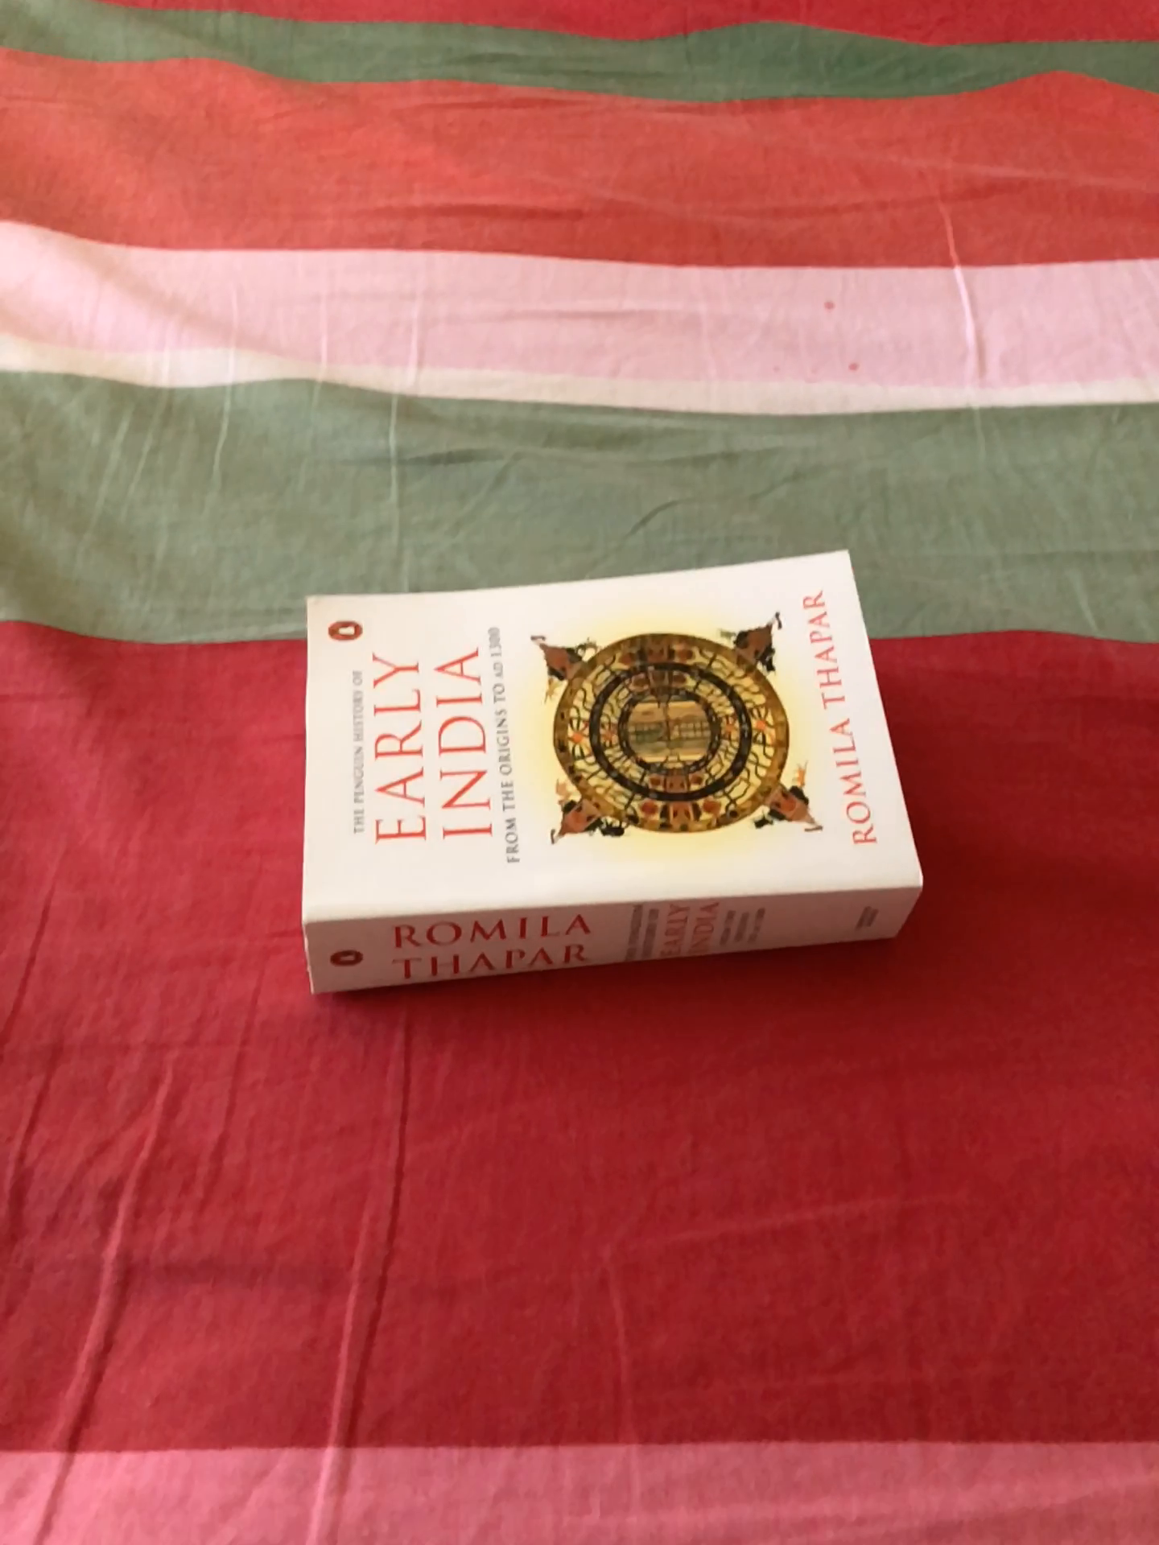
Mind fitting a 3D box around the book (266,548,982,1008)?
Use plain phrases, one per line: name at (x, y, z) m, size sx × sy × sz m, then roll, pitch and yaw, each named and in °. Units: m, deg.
book at (0.005, -0.004, 0.418) m, size 0.201 × 0.070 × 0.121 m, roll -4°, pitch 51°, yaw -13°
